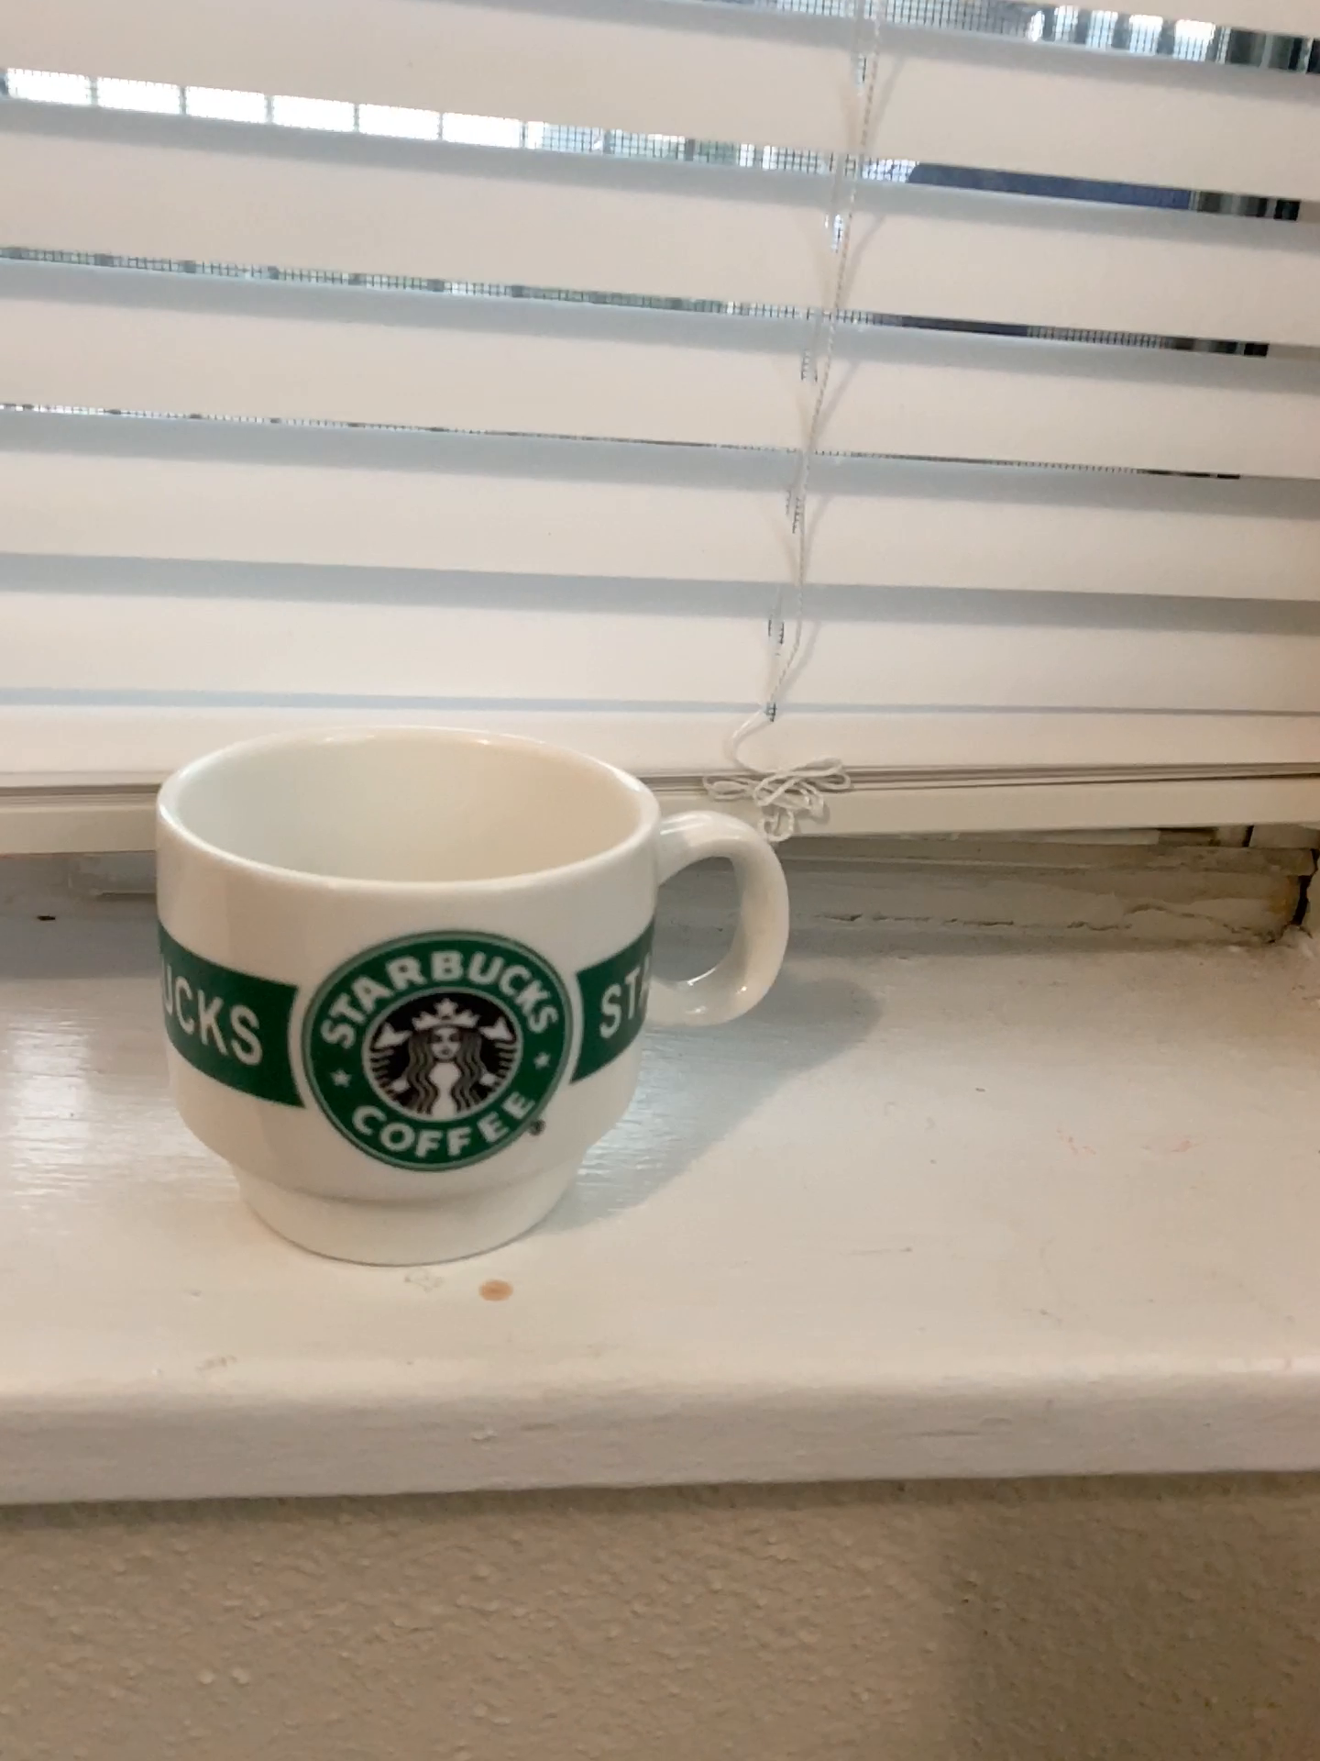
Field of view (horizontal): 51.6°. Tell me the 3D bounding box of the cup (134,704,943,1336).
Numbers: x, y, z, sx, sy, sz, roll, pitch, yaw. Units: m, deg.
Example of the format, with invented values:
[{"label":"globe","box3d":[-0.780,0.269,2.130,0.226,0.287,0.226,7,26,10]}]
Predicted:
[{"label":"cup","box3d":[-0.023,0.012,0.211,0.100,0.060,0.070,-5,23,-25]}]
